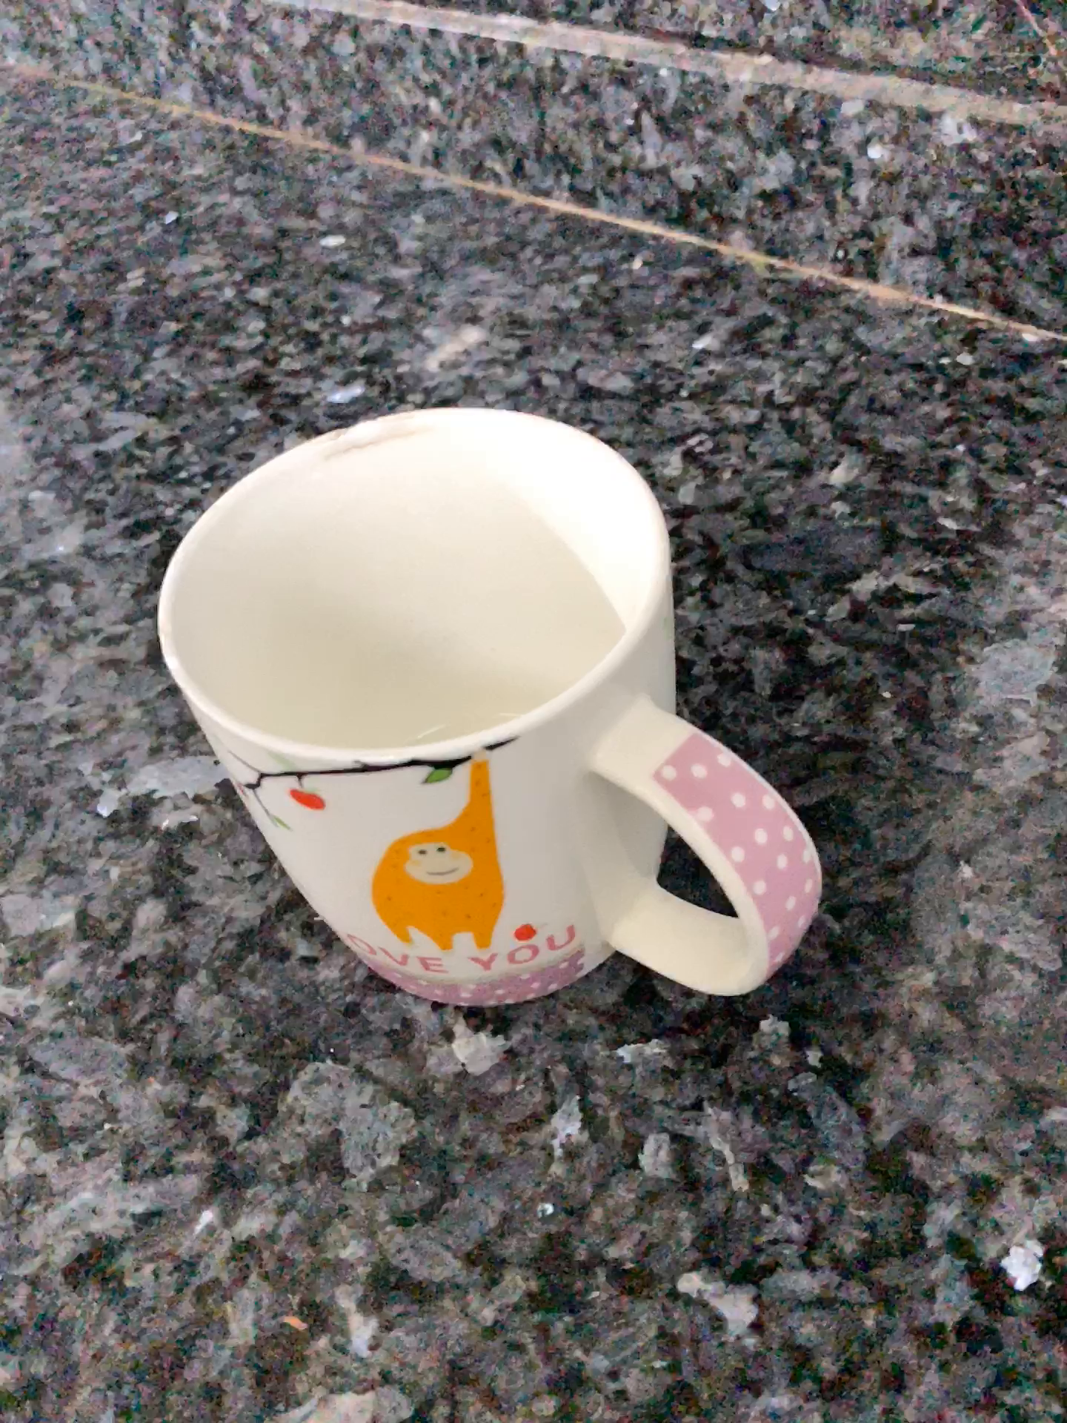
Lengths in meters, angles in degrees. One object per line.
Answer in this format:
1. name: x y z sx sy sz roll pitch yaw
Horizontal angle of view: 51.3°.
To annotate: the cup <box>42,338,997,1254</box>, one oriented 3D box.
1. cup: -0.002 0.009 0.198 0.121 0.089 0.080 30 60 31
